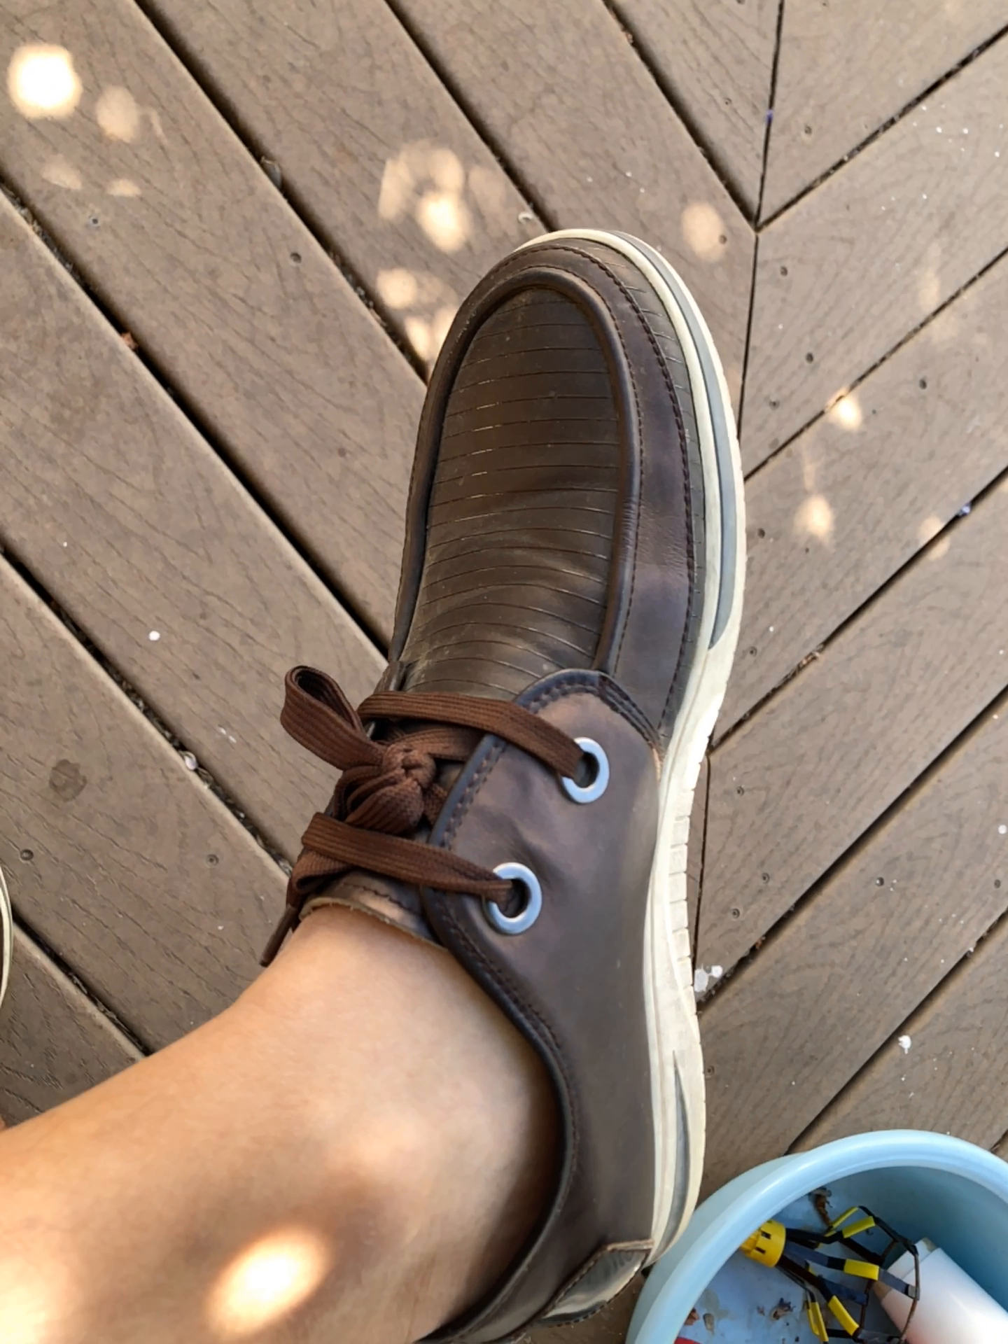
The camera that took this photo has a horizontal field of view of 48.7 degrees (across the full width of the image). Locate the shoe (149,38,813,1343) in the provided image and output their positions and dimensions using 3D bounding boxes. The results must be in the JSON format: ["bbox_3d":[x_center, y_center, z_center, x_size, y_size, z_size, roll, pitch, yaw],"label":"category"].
[{"bbox_3d":[-0.001,0.019,0.274,0.102,0.097,0.274,5,90,-57],"label":"shoe"}]
